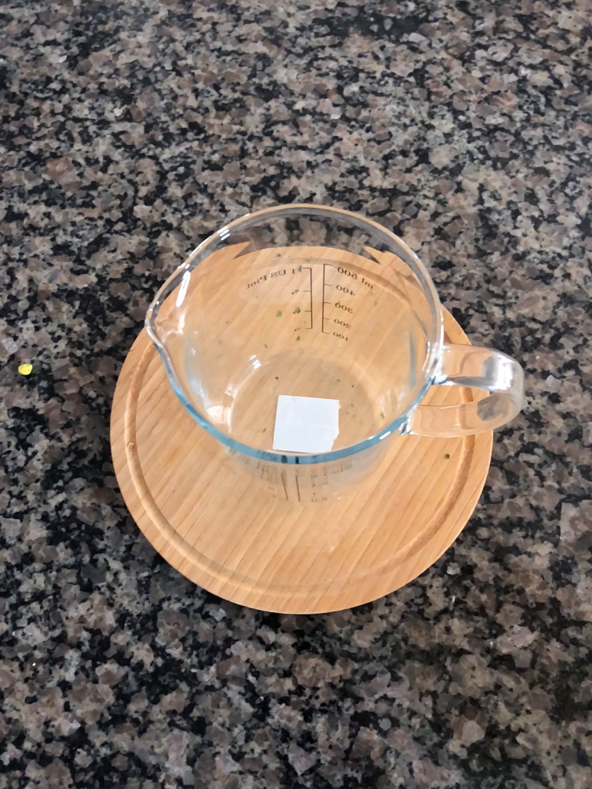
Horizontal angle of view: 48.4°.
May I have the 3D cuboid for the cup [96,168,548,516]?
[{"bbox_3d":[0.013,-0.013,0.297,0.150,0.128,0.105,3,71,3],"label":"cup"}]
